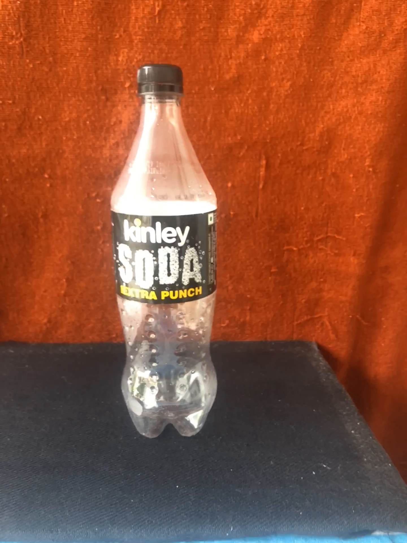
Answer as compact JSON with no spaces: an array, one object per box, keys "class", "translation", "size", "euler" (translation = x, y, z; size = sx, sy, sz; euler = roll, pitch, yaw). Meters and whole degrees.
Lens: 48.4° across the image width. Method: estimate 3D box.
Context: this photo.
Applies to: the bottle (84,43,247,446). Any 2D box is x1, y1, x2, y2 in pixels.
[{"class":"bottle","translation":[-0.024,-0.011,0.321],"size":[0.090,0.259,0.070],"euler":[2,17,2]}]
